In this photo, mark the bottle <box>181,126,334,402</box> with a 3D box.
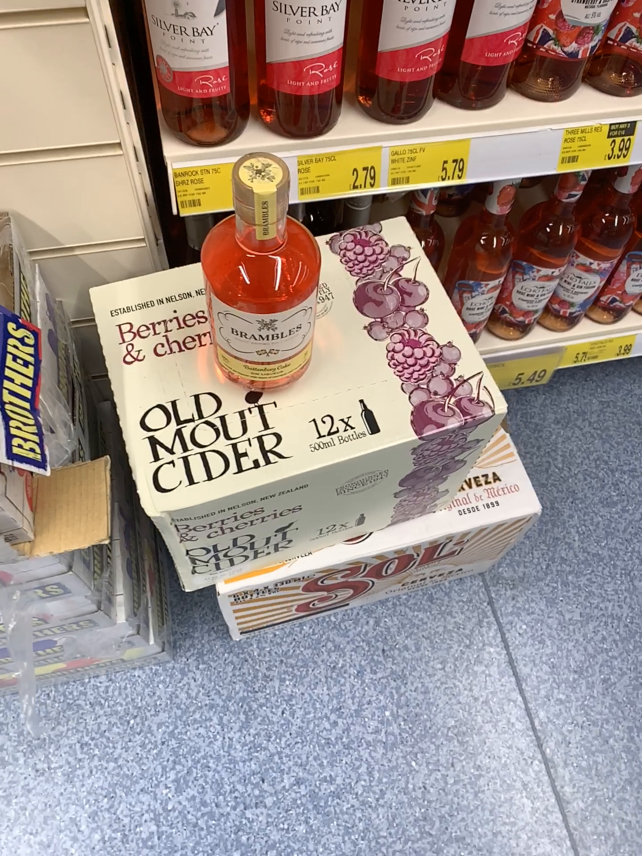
[{"bbox_3d":[-0.041,-0.099,0.444,0.077,0.176,0.076,1,61,-2],"label":"bottle"}]
